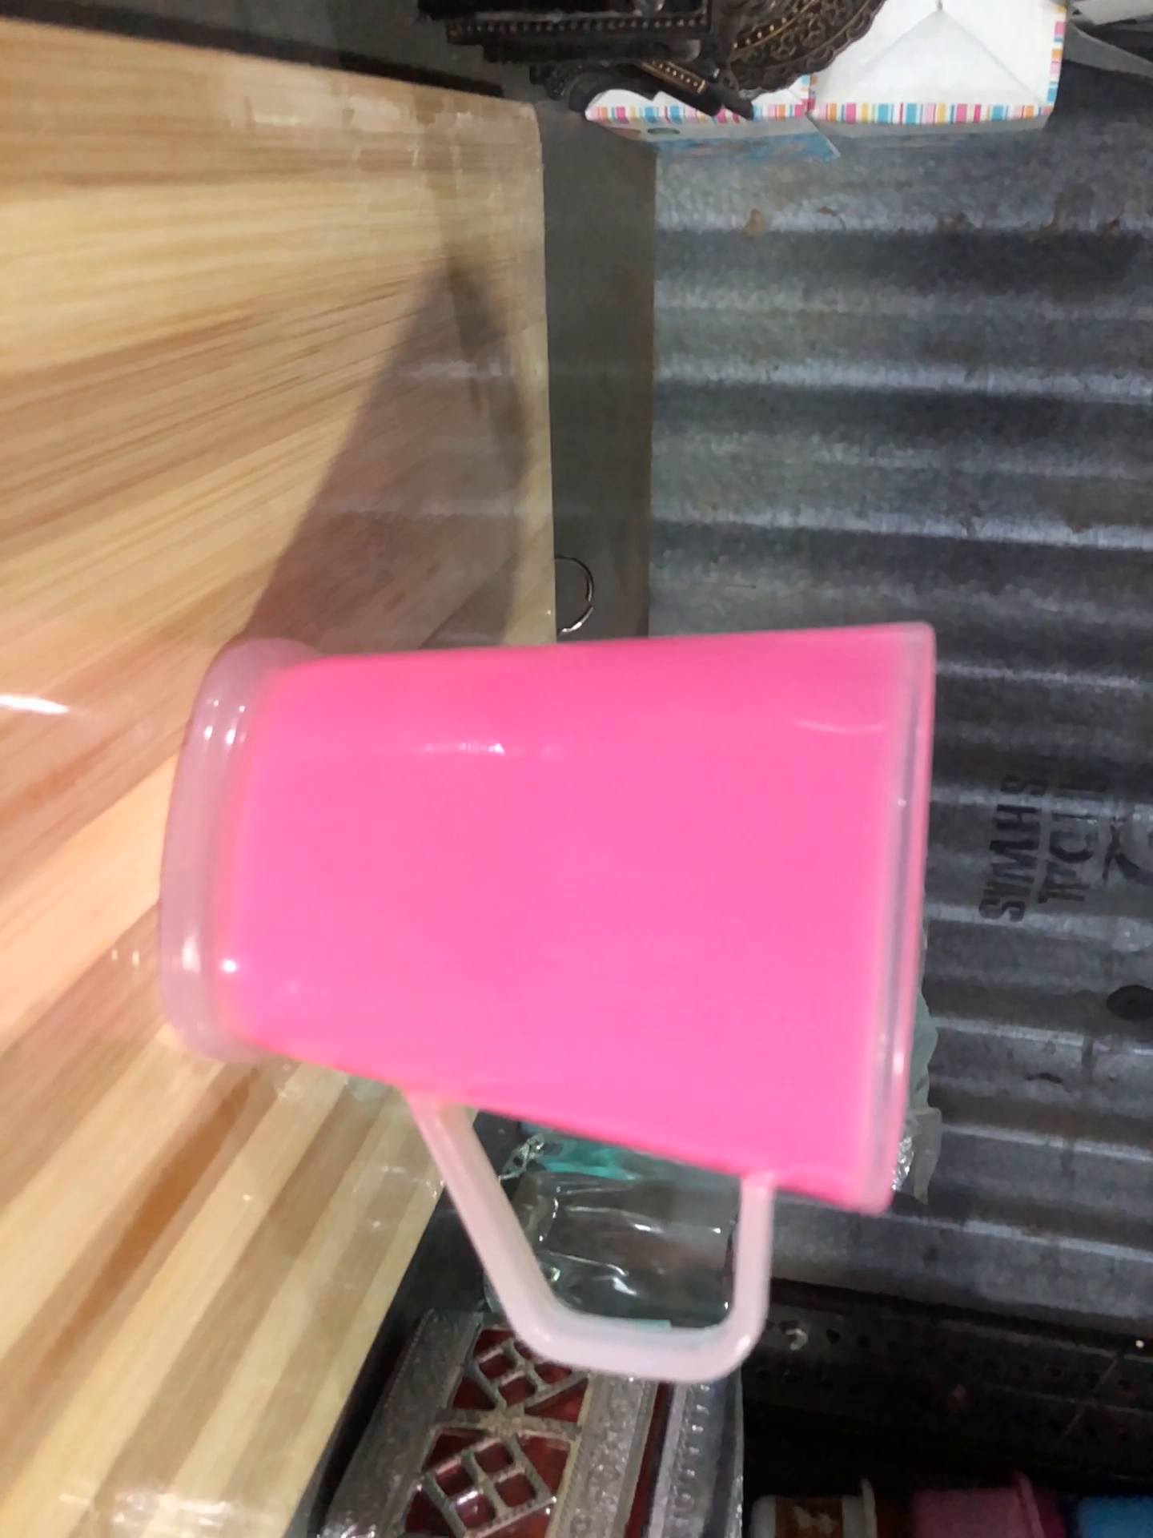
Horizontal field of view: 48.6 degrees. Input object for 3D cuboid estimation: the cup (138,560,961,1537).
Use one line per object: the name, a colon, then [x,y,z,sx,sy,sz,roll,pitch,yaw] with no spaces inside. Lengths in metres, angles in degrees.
cup: [0.000,0.035,0.200,0.070,0.100,0.120,-6,100,-79]
